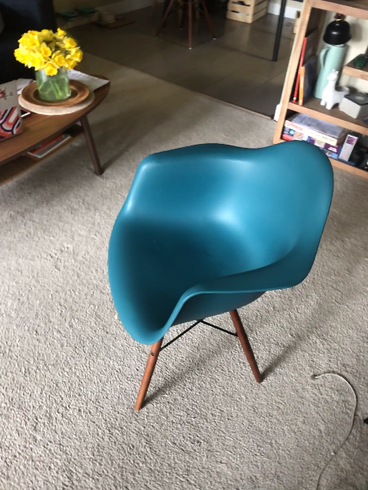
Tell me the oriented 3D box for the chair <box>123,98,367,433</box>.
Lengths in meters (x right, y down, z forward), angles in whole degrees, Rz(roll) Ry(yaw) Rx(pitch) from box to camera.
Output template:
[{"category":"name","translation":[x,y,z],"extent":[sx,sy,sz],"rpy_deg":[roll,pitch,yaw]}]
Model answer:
[{"category":"chair","translation":[0.105,0.075,1.271],"extent":[0.481,0.844,0.573],"rpy_deg":[-9,45,-17]}]
